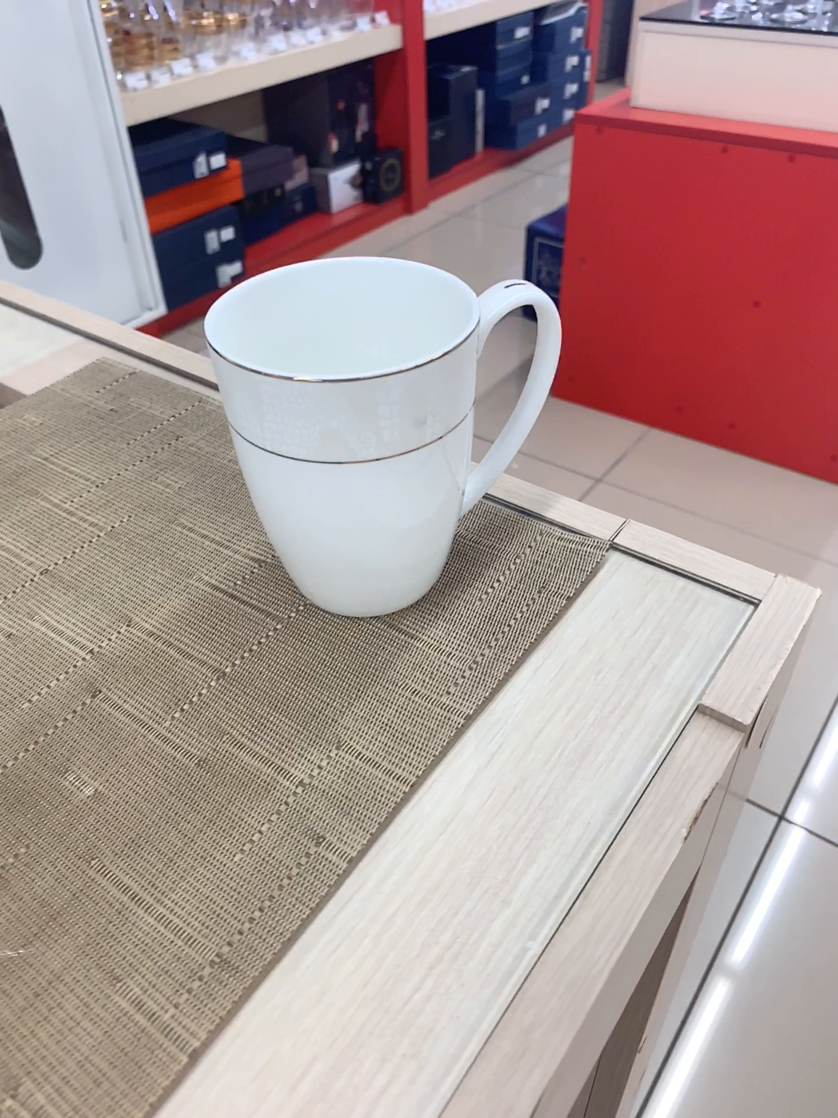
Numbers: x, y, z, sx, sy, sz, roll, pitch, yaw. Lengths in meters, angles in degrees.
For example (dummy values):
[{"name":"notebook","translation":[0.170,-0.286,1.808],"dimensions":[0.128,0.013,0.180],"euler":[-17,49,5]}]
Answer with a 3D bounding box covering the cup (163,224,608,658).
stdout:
[{"name":"cup","translation":[-0.014,-0.046,0.308],"dimensions":[0.120,0.100,0.090],"euler":[-14,41,-14]}]
